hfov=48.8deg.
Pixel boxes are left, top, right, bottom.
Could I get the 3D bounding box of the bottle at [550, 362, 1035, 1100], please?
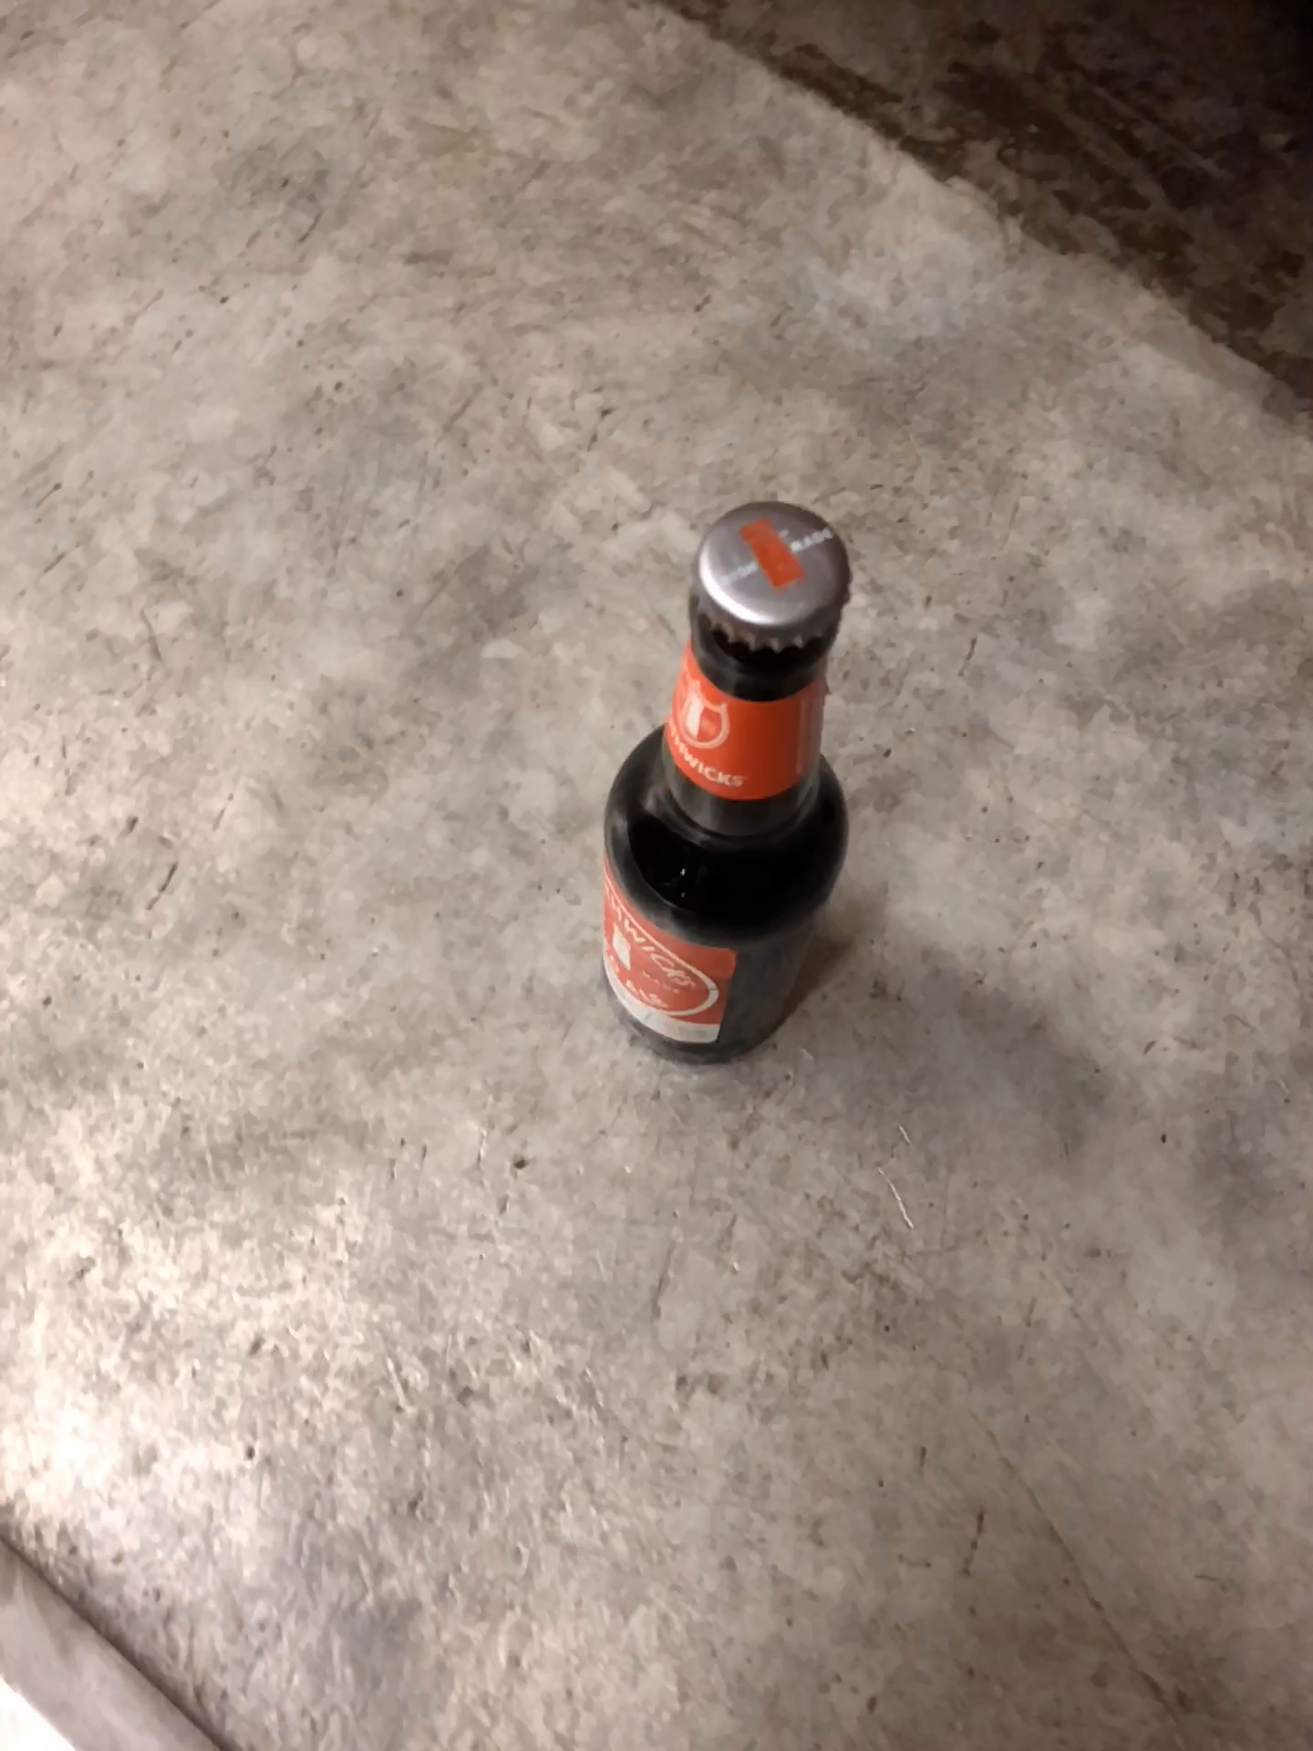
[{"bbox_3d":[0.018,-0.012,0.343,0.060,0.220,0.059,1,67,-2],"label":"bottle"}]
